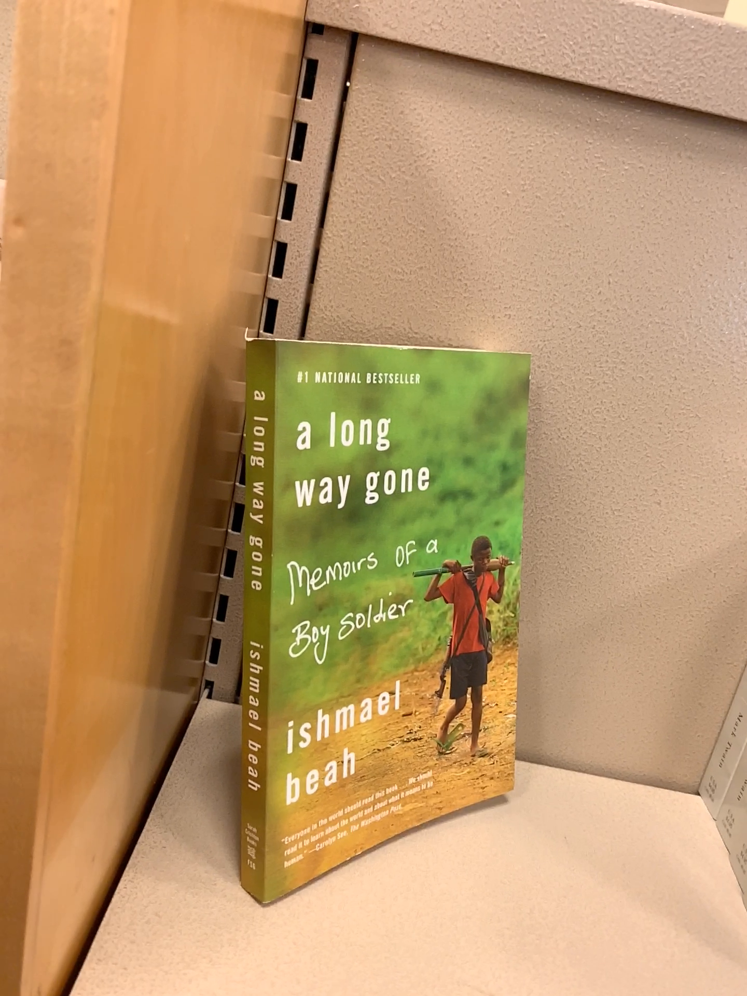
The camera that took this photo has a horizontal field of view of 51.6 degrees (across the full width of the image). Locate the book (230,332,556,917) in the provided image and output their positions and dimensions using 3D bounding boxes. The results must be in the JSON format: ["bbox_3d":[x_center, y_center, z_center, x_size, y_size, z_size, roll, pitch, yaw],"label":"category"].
[{"bbox_3d":[0.011,0.043,0.315,0.140,0.210,0.020,-5,13,-38],"label":"book"}]
